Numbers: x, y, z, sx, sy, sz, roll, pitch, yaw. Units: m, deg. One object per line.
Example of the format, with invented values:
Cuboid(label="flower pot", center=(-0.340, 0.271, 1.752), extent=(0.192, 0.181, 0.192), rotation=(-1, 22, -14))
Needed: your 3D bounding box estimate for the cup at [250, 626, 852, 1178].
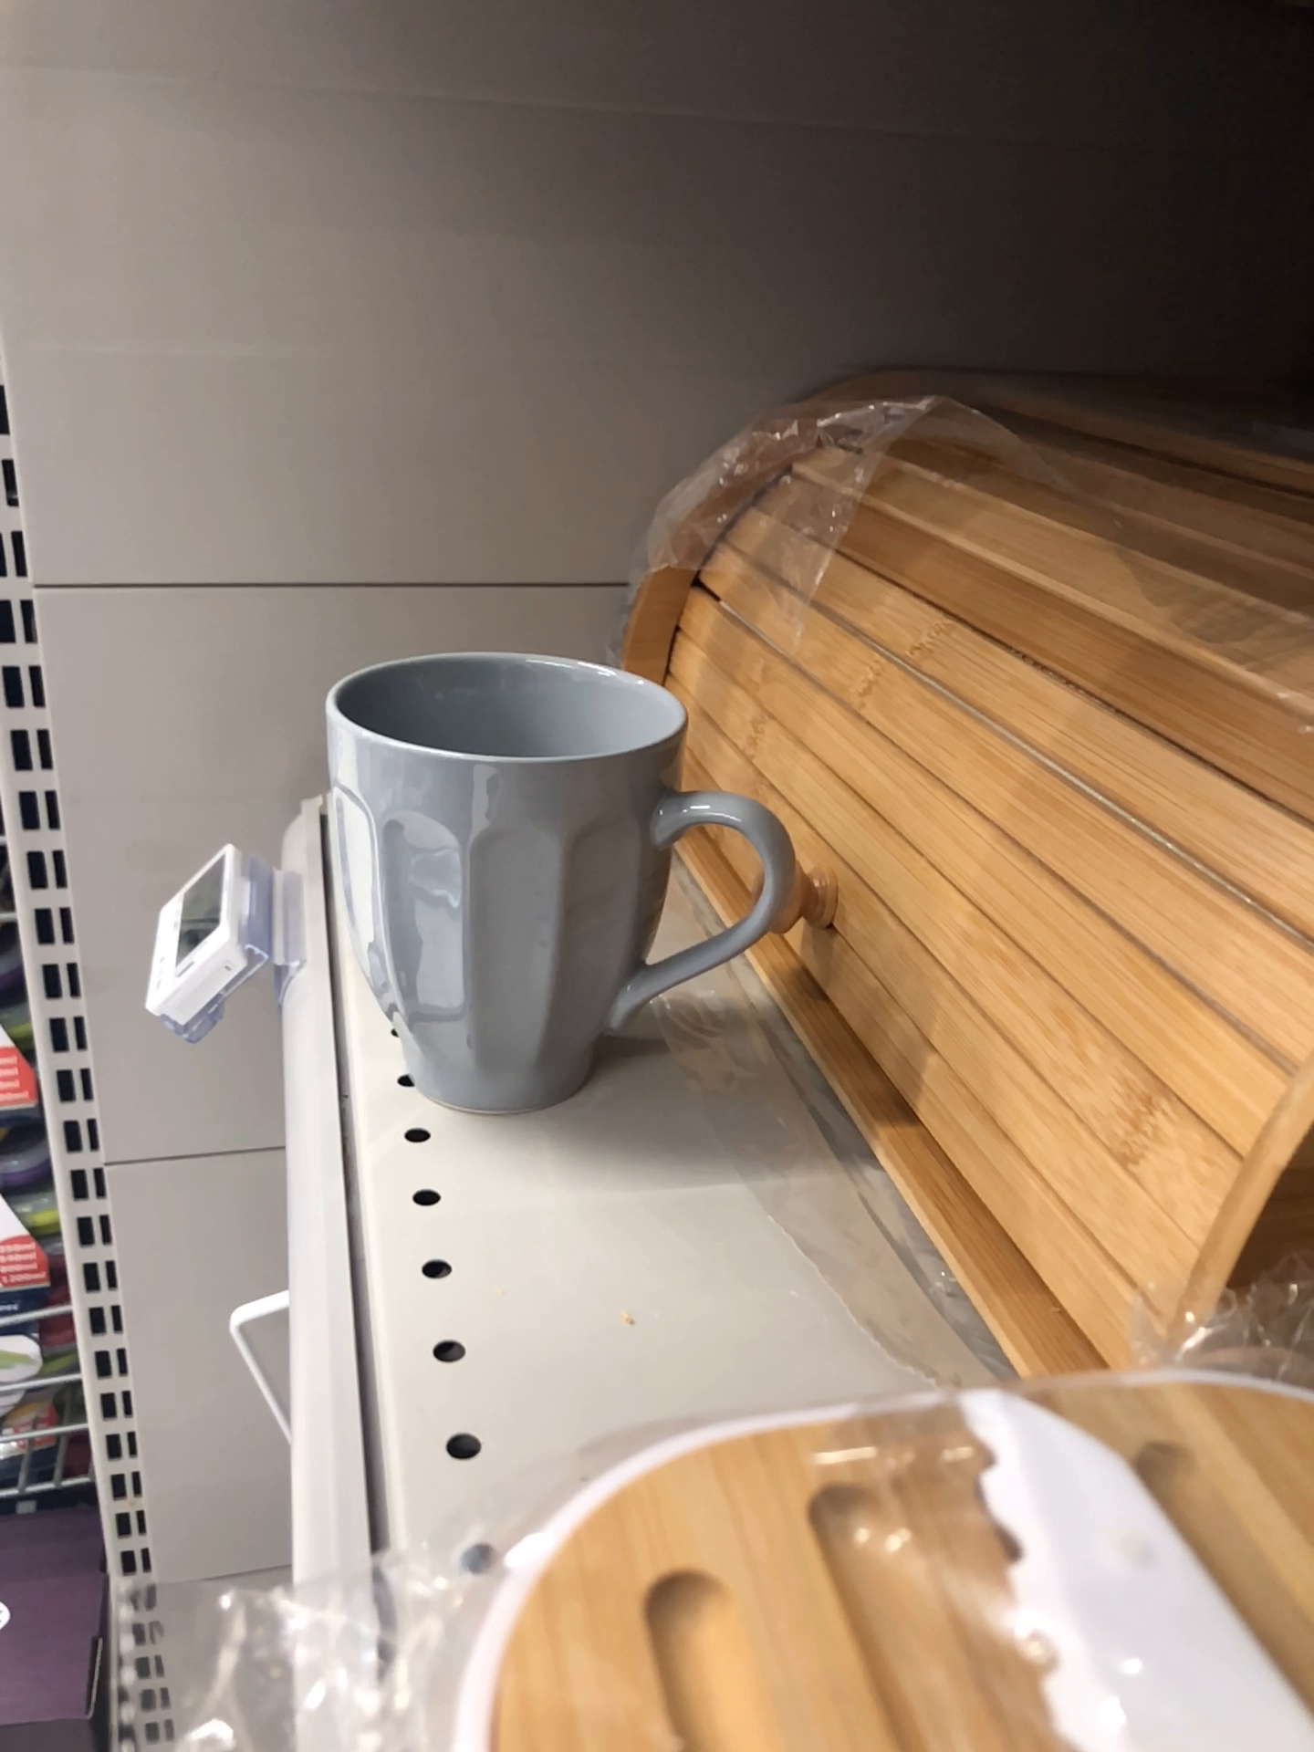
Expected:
Cuboid(label="cup", center=(-0.023, -0.001, 0.367), extent=(0.116, 0.091, 0.093), rotation=(11, 25, 18))
